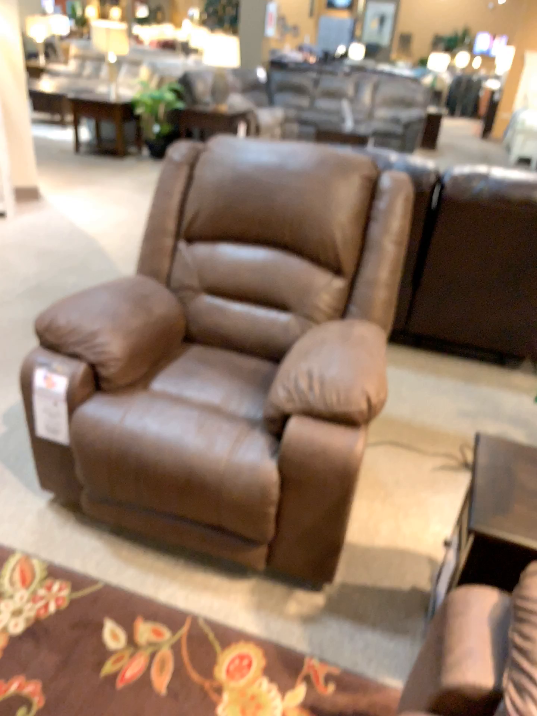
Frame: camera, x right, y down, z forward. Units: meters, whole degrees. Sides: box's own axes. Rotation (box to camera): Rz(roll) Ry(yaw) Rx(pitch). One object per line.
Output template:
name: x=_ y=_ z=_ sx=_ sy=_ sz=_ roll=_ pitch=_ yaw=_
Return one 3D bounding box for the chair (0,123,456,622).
chair: x=-0.063 y=-0.095 z=1.830 sx=1.001 sy=1.027 sz=1.070 roll=14 pitch=31 yaw=15
